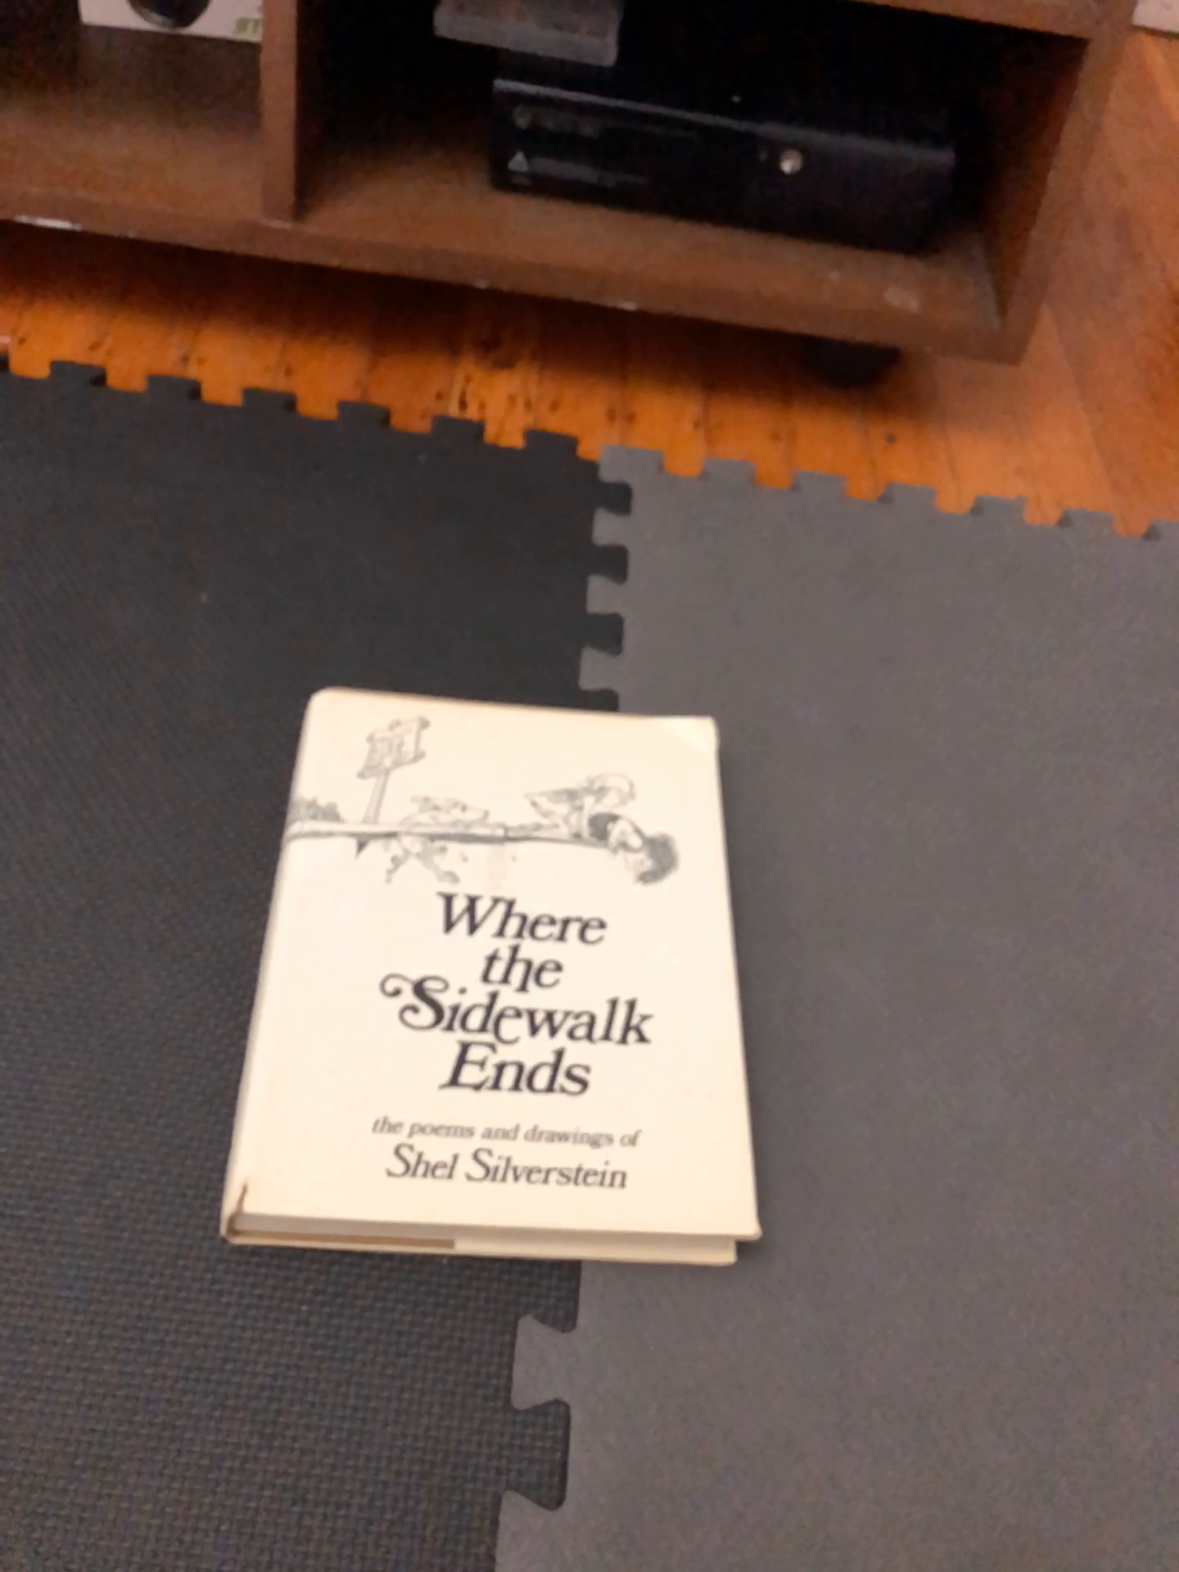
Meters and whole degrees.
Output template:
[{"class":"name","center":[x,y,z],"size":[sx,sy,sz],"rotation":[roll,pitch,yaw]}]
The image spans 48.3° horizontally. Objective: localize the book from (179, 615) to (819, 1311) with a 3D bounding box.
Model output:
[{"class":"book","center":[-0.027,0.051,0.511],"size":[0.200,0.030,0.281],"rotation":[5,50,-5]}]
